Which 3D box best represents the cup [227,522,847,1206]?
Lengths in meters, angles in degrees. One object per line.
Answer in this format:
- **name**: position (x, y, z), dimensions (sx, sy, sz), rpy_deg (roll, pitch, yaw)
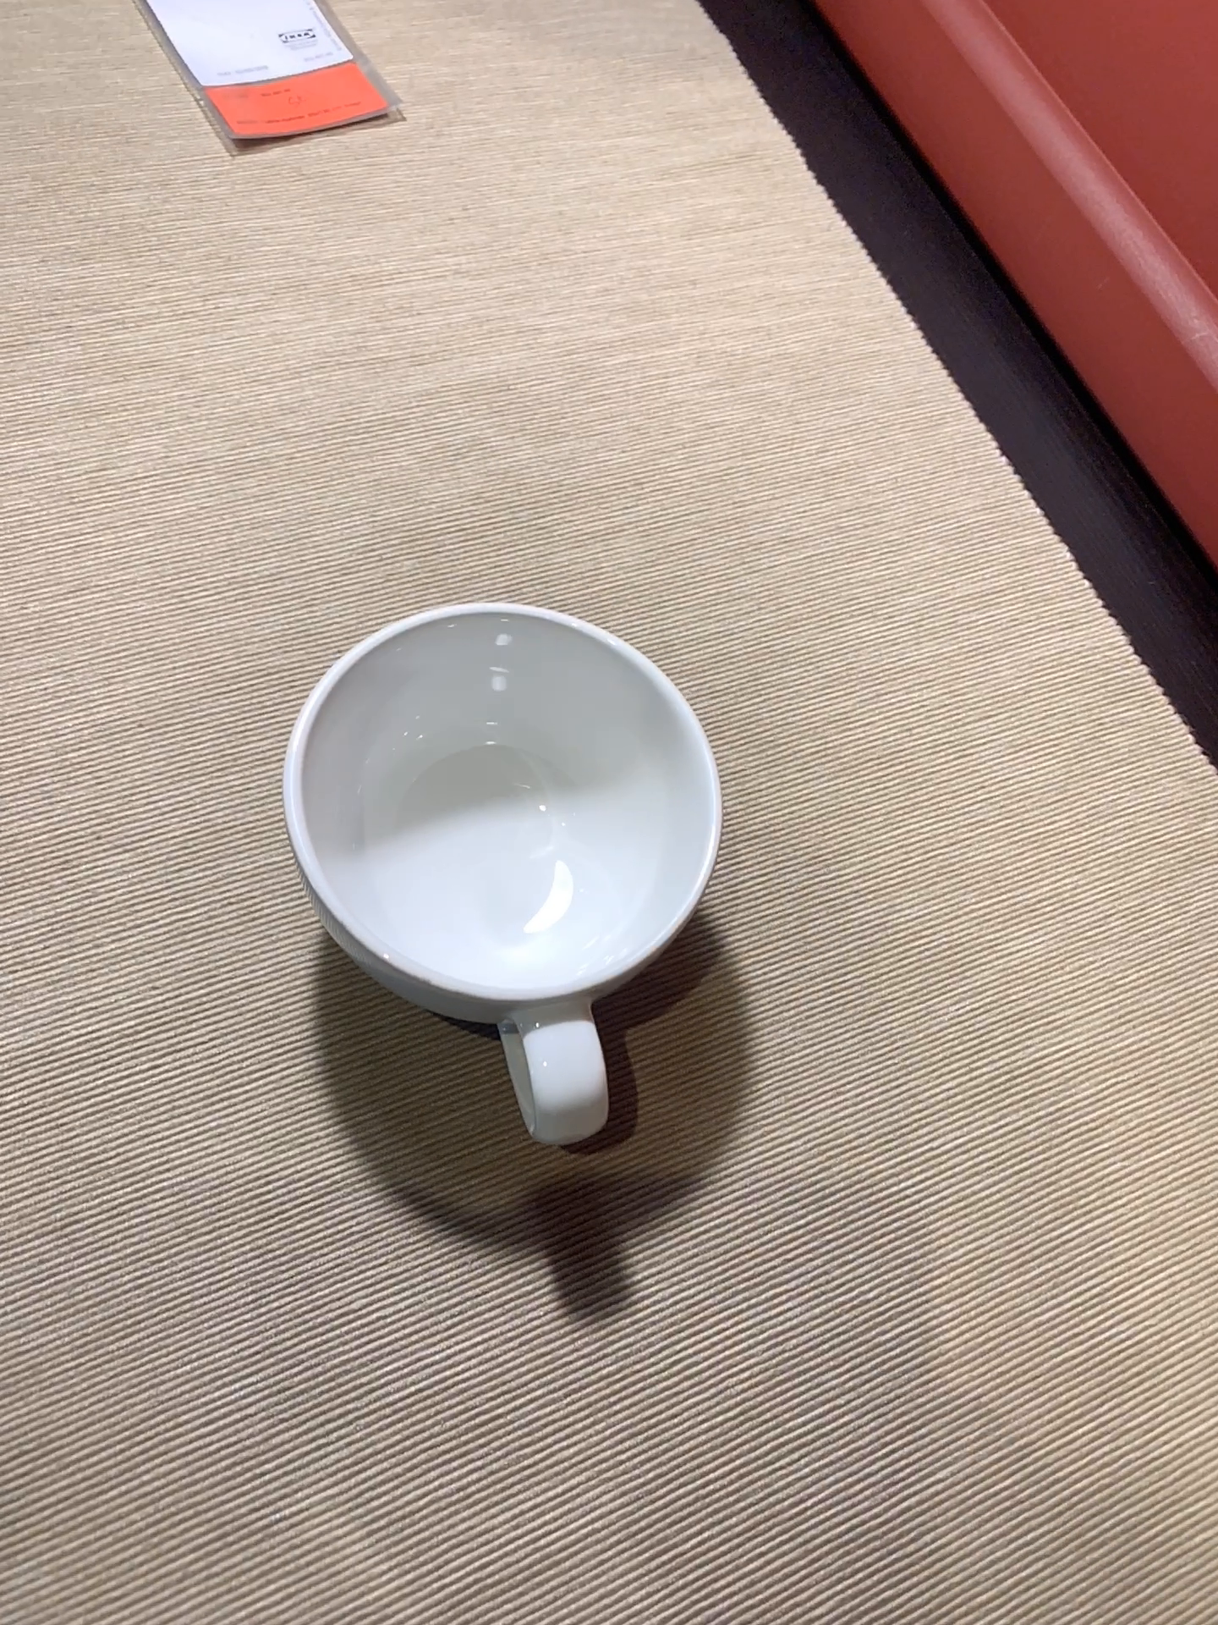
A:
- **cup**: position (-0.021, 0.008, 0.256), dimensions (0.090, 0.060, 0.110), rpy_deg (-10, 65, -15)
